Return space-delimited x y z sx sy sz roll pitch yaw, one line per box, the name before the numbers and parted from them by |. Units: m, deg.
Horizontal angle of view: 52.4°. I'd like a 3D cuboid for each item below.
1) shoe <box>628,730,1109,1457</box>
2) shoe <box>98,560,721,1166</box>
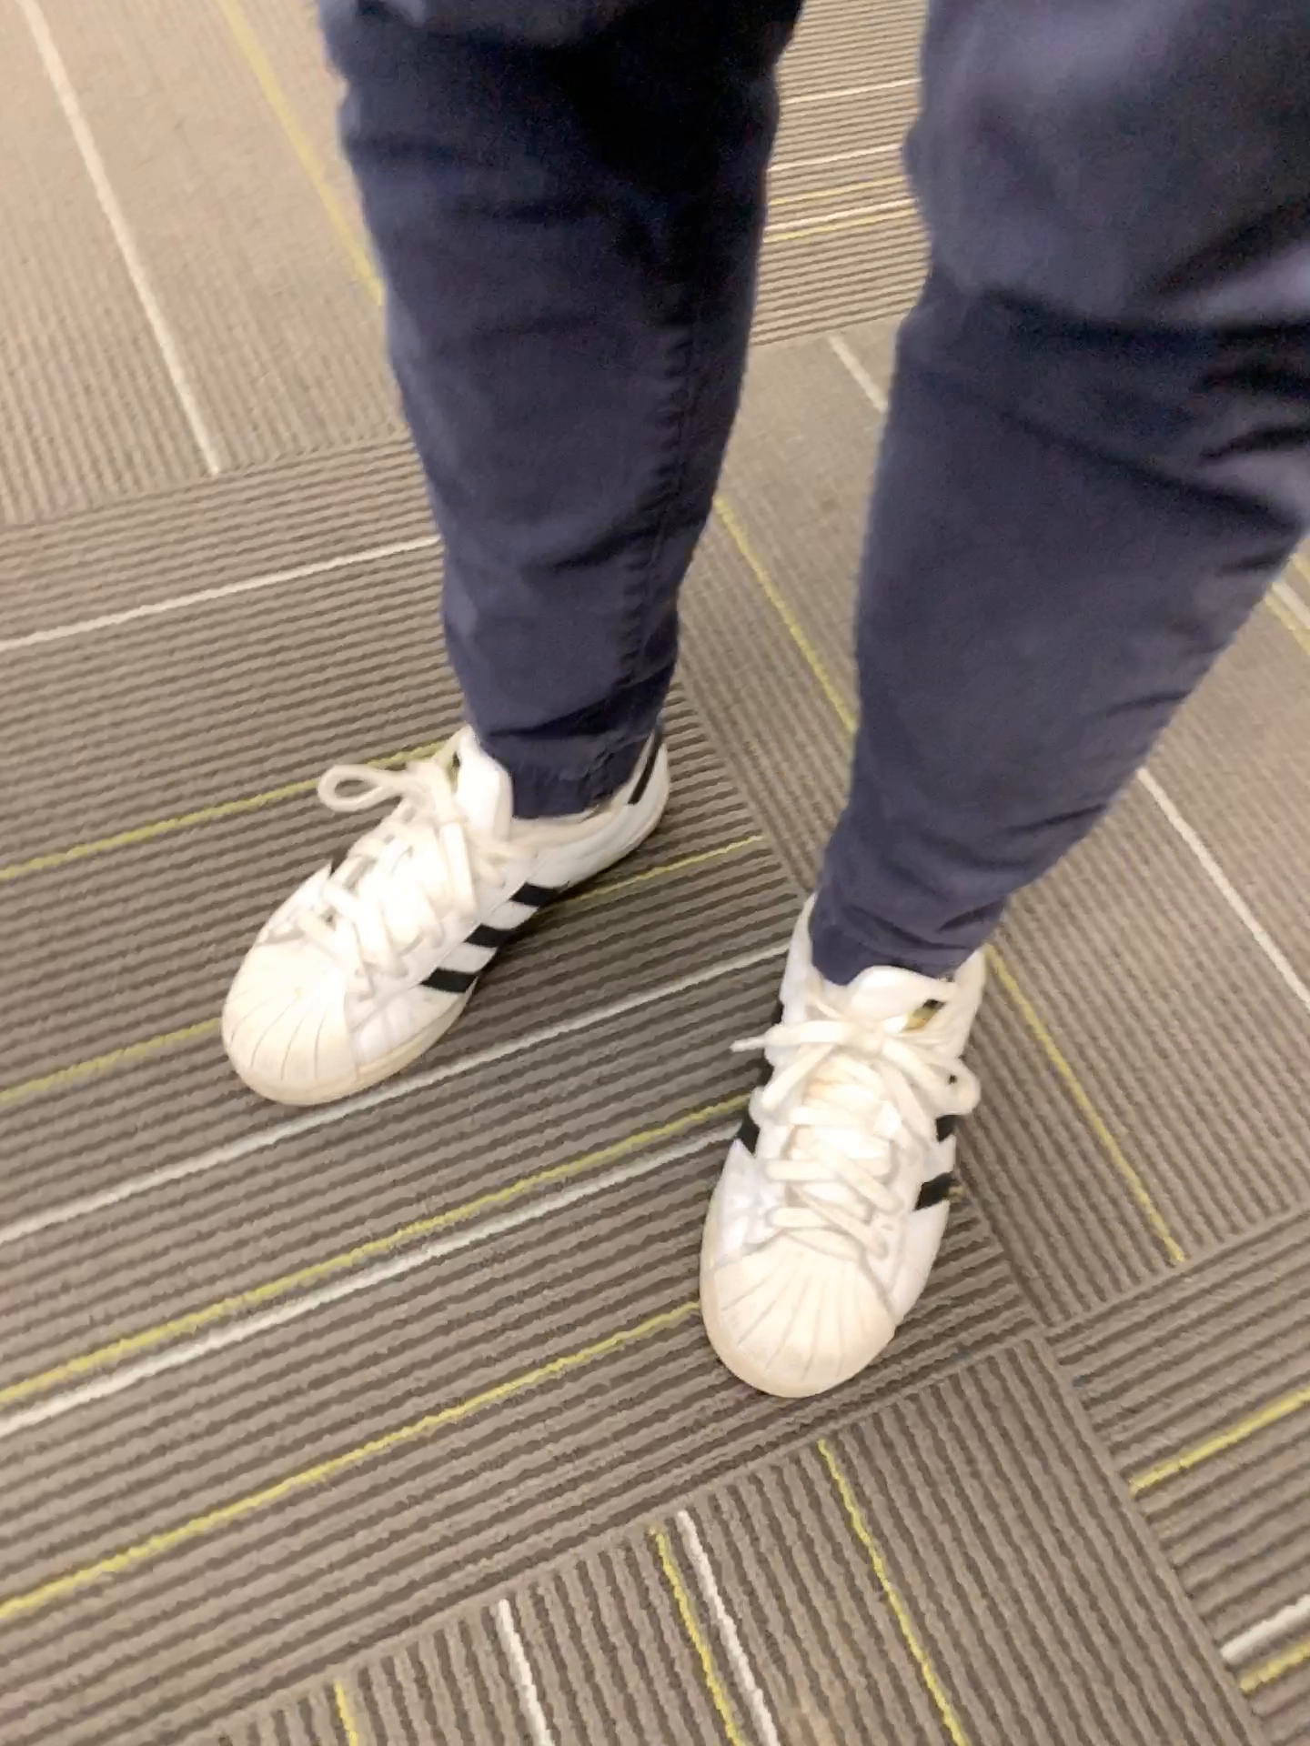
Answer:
shoe | 0.093 0.085 0.561 0.108 0.104 0.263 22 59 7
shoe | -0.098 -0.011 0.605 0.105 0.104 0.258 38 62 16
